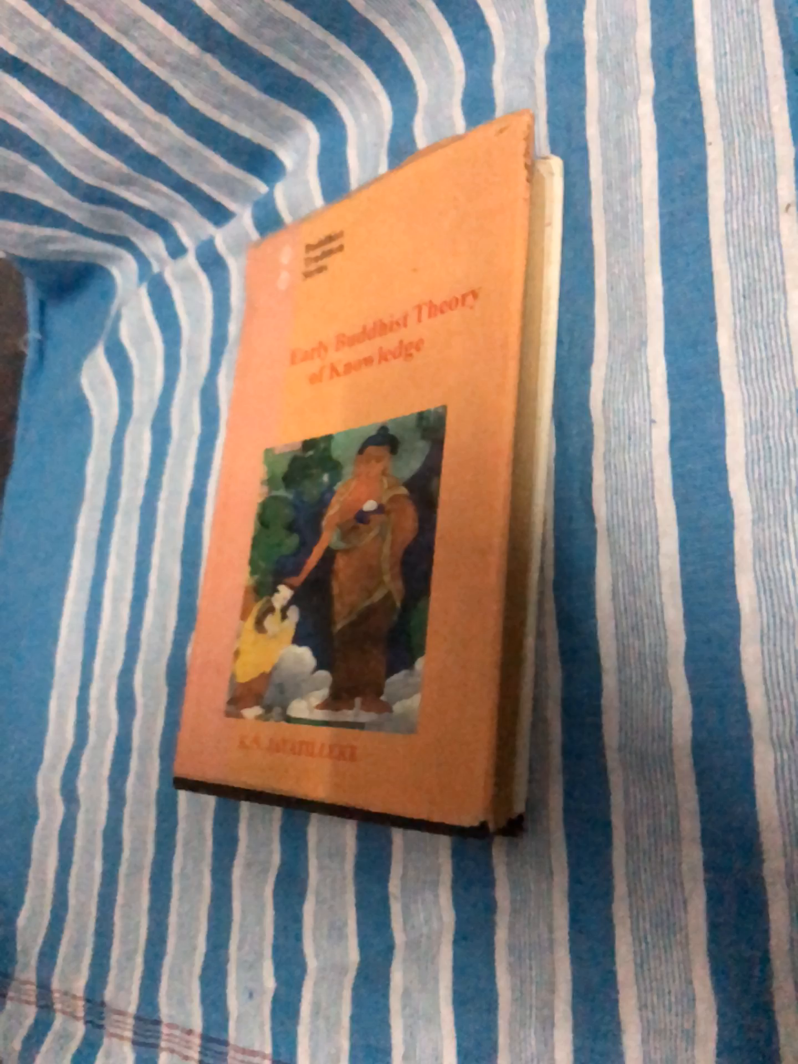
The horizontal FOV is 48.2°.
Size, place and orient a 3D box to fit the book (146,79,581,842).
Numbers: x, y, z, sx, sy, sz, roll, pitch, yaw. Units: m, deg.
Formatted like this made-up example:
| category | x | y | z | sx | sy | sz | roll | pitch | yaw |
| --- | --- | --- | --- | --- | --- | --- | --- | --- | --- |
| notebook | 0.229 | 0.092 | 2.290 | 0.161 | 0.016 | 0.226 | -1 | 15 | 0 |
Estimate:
| category | x | y | z | sx | sy | sz | roll | pitch | yaw |
| --- | --- | --- | --- | --- | --- | --- | --- | --- | --- |
| book | -0.016 | -0.020 | 0.305 | 0.150 | 0.030 | 0.220 | -7 | 72 | 42 |
